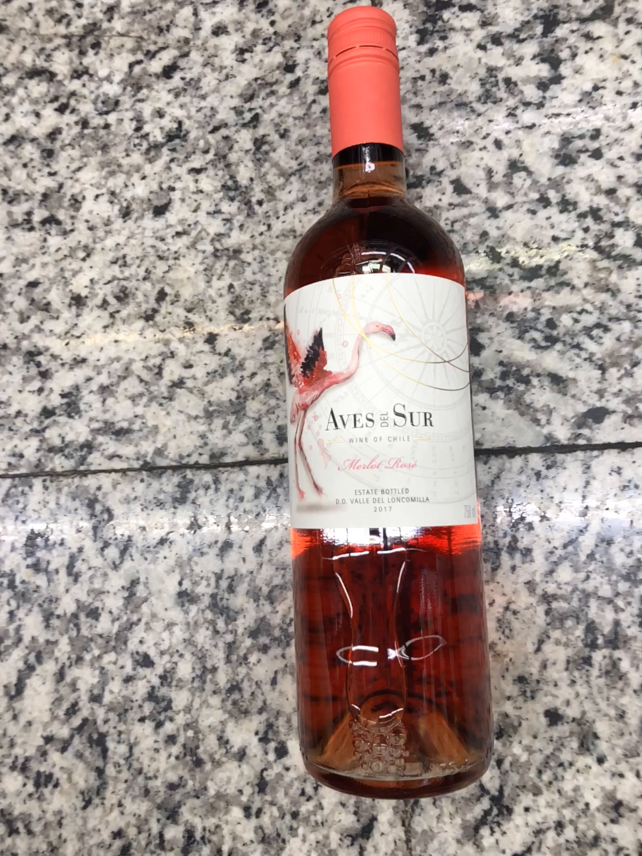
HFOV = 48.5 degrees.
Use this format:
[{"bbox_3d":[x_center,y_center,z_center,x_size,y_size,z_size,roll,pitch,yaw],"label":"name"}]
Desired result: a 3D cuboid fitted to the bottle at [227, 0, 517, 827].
[{"bbox_3d":[0.021,-0.027,0.304,0.090,0.070,0.340,-5,82,13],"label":"bottle"}]
